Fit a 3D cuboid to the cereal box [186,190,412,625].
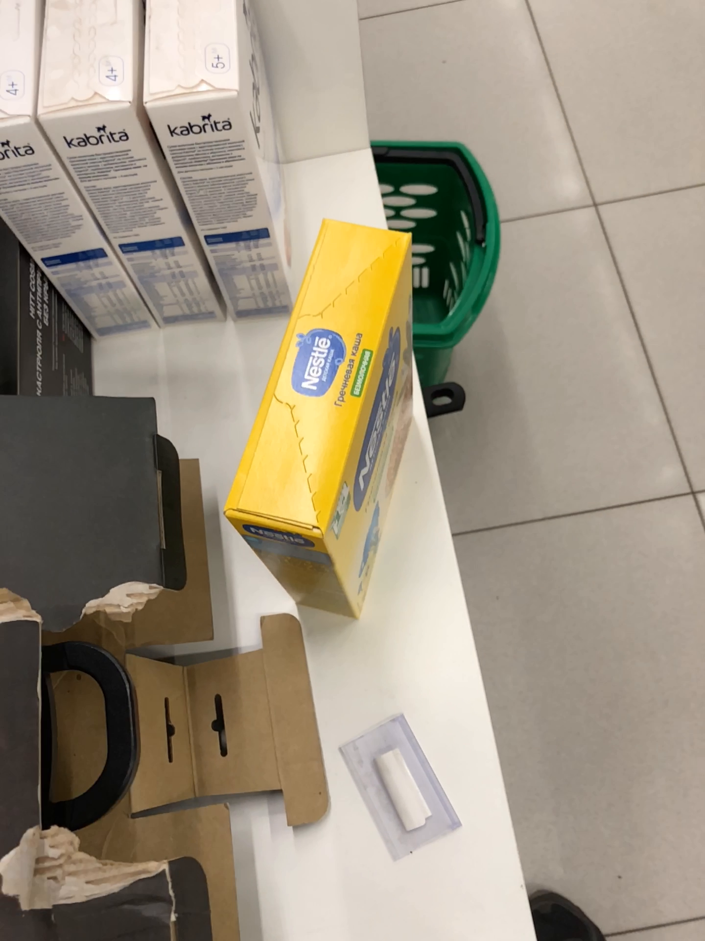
[{"bbox_3d":[-0.011,-0.015,0.409,0.050,0.200,0.150,13,71,10],"label":"cereal box"}]
